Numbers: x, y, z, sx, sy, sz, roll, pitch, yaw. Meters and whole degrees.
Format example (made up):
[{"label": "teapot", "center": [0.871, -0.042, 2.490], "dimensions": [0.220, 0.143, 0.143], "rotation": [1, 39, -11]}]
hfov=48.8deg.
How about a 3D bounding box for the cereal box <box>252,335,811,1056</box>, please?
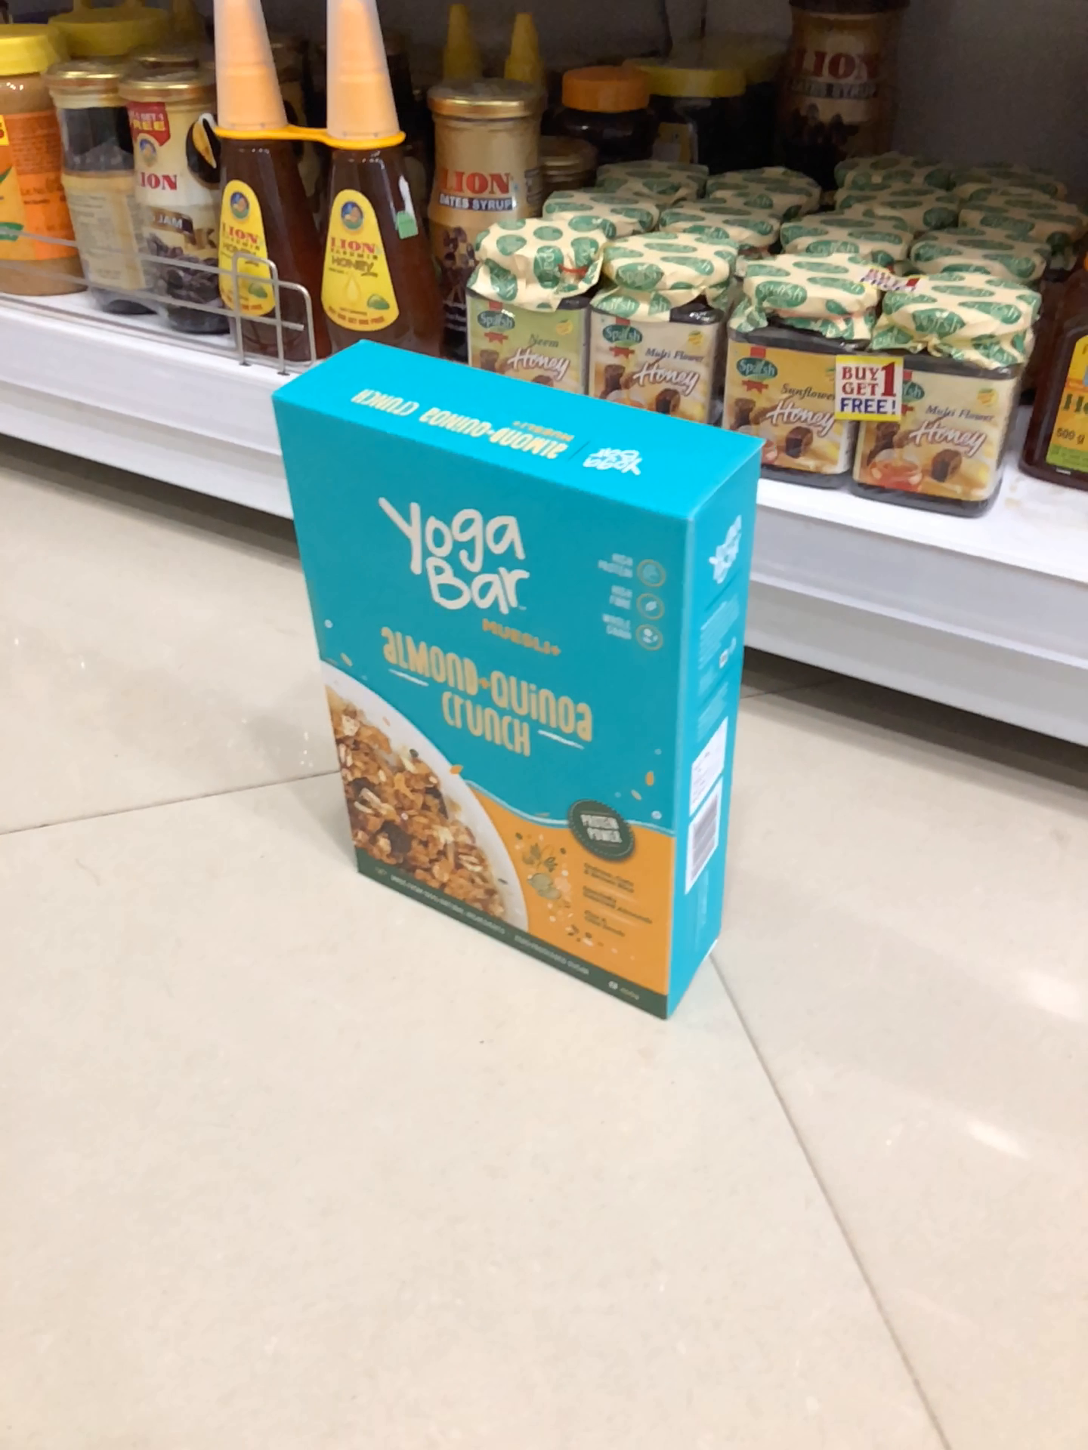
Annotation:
[{"label": "cereal box", "center": [-0.005, -0.007, 0.445], "dimensions": [0.170, 0.228, 0.060], "rotation": [21, 43, 26]}]
